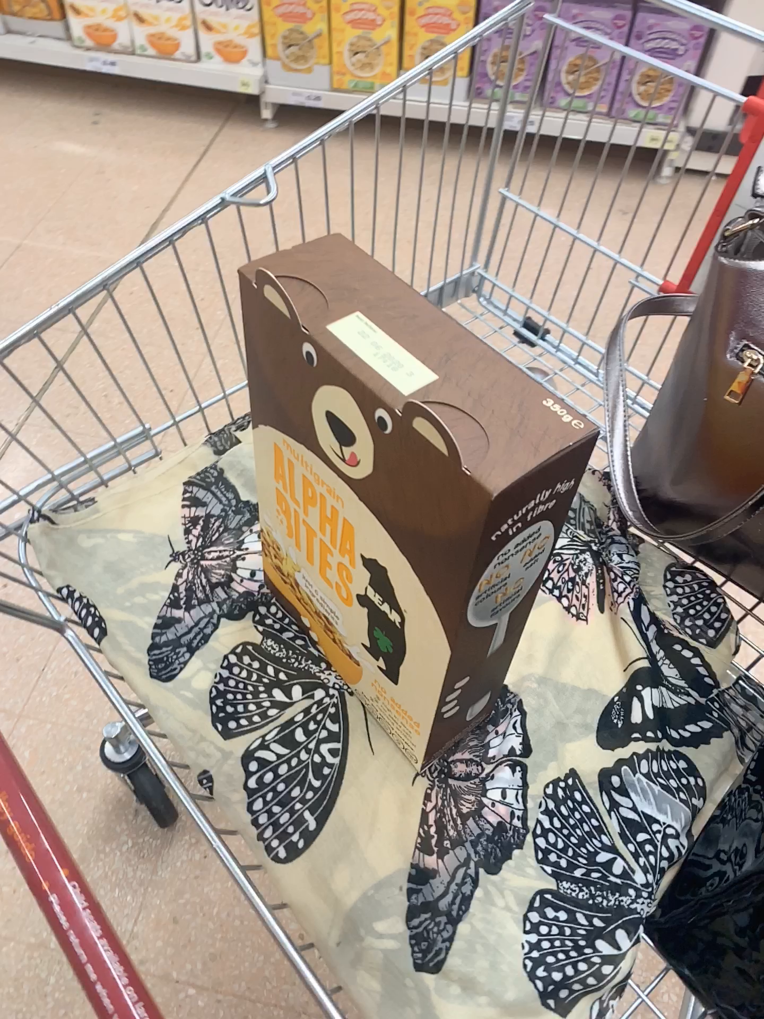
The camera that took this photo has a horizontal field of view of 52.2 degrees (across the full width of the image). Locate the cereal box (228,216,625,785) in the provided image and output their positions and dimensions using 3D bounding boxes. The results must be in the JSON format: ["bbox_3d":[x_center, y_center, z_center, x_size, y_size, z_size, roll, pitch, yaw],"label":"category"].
[{"bbox_3d":[0.001,0.013,0.477,0.070,0.298,0.201,-30,59,-27],"label":"cereal box"}]
